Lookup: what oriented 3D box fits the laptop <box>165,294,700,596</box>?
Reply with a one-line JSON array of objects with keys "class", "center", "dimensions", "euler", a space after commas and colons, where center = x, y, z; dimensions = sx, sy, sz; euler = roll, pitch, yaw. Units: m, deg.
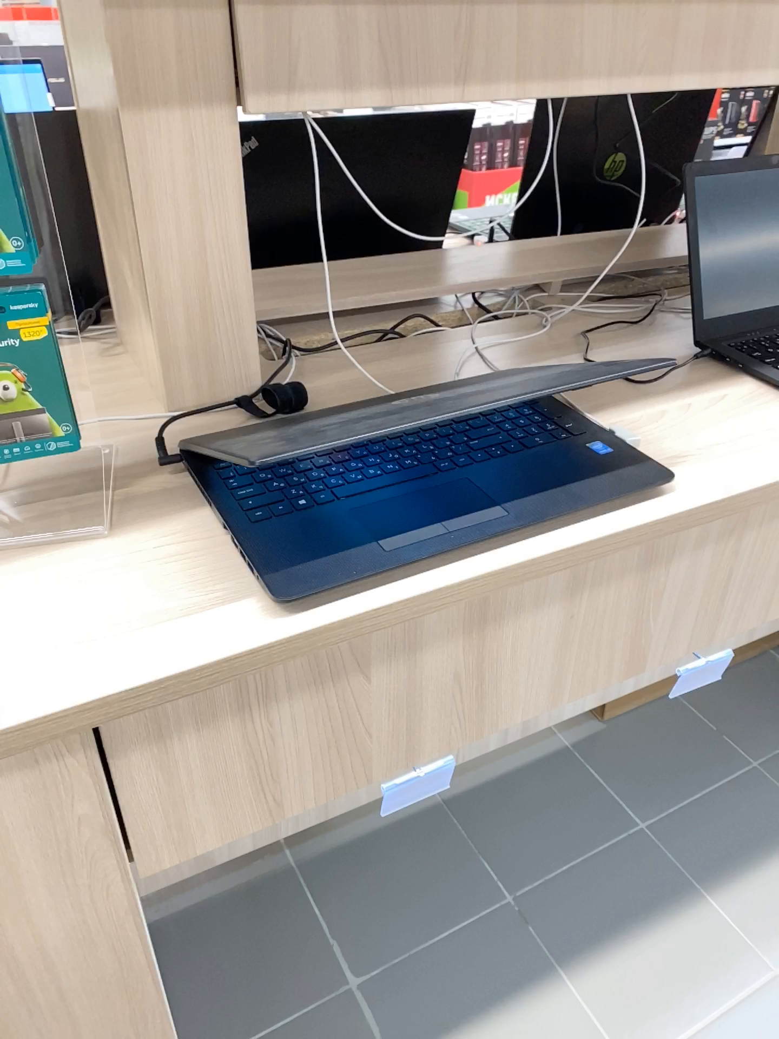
[{"class": "laptop", "center": [0.030, -0.092, 0.692], "dimensions": [0.373, 0.093, 0.252], "euler": [-15, 36, -24]}]
